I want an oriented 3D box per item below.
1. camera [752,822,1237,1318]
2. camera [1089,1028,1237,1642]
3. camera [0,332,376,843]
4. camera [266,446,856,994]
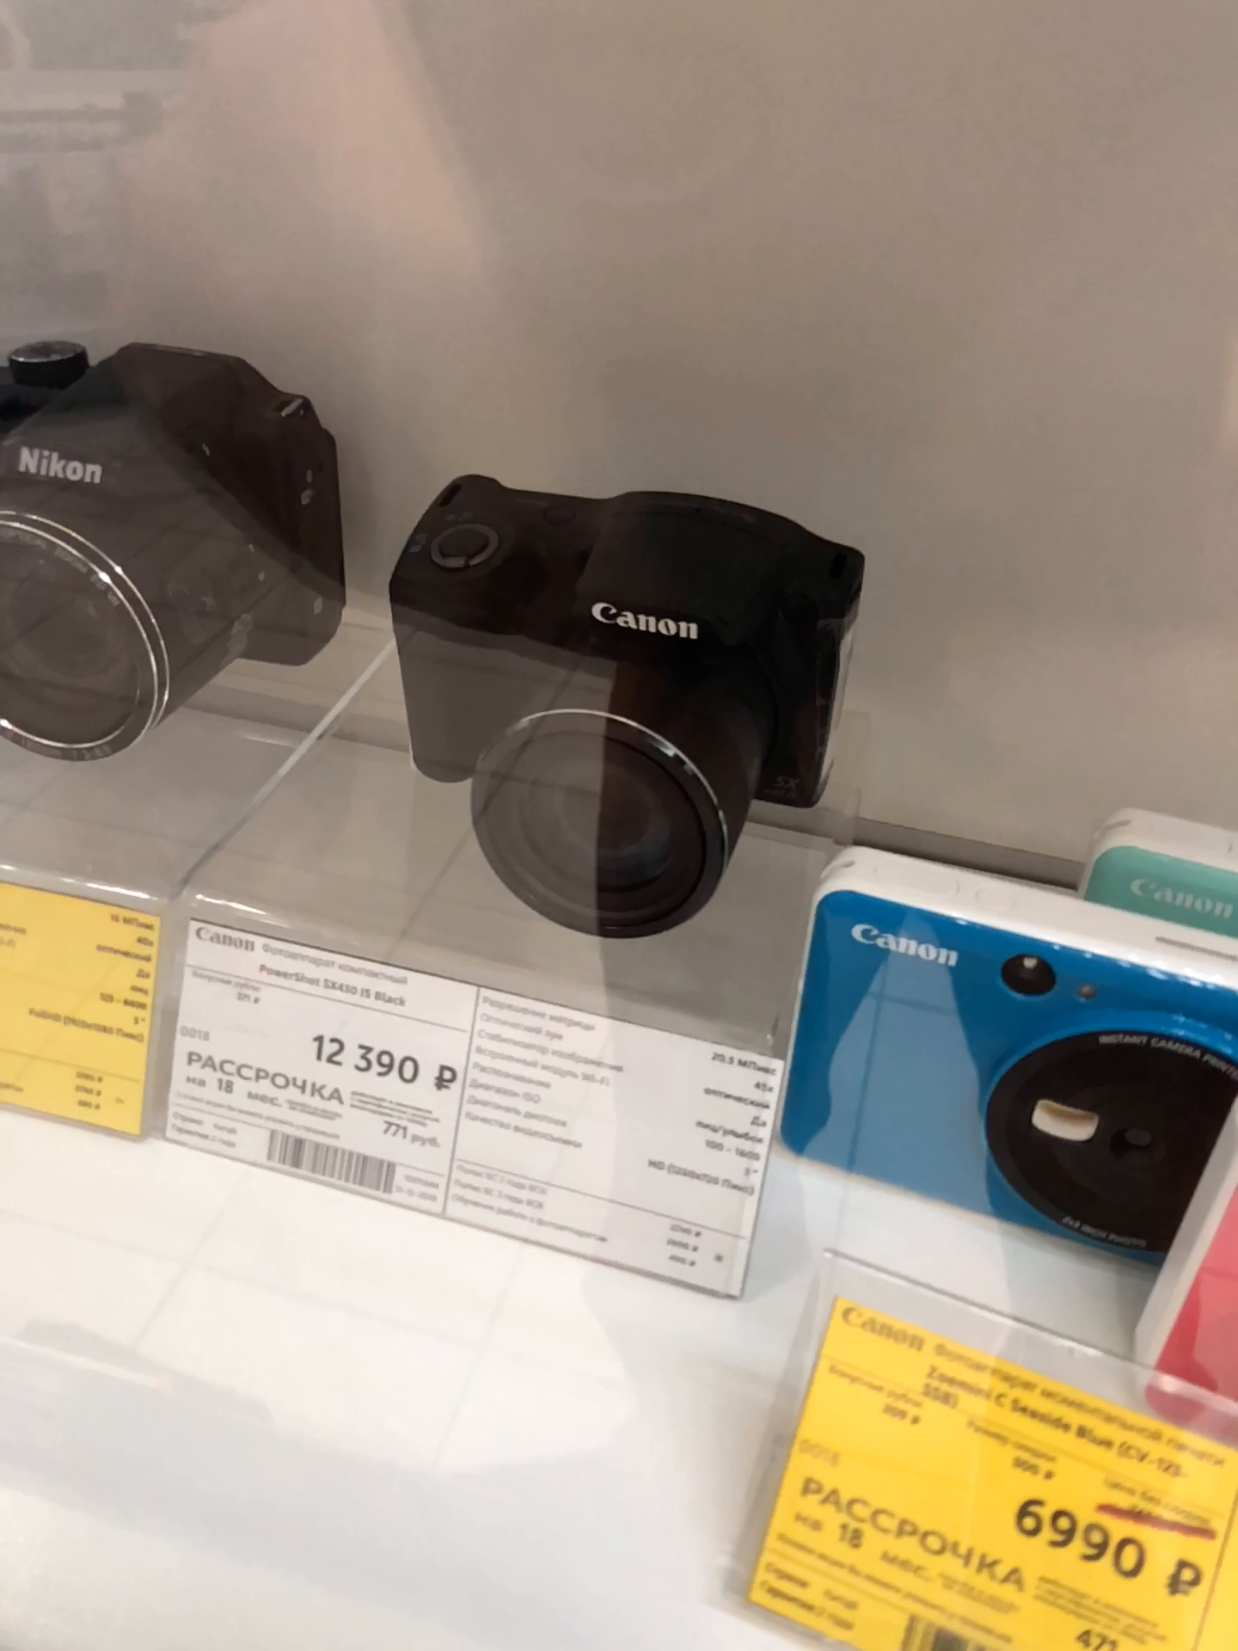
[{"bbox_3d":[0.092,0.050,0.286,0.118,0.073,0.028,14,37,14],"label":"camera"},{"bbox_3d":[0.151,0.086,0.235,0.118,0.073,0.028,14,37,14],"label":"camera"},{"bbox_3d":[-0.126,-0.062,0.326,0.100,0.073,0.093,12,36,12],"label":"camera"},{"bbox_3d":[-0.008,-0.029,0.309,0.100,0.070,0.093,12,36,12],"label":"camera"}]
